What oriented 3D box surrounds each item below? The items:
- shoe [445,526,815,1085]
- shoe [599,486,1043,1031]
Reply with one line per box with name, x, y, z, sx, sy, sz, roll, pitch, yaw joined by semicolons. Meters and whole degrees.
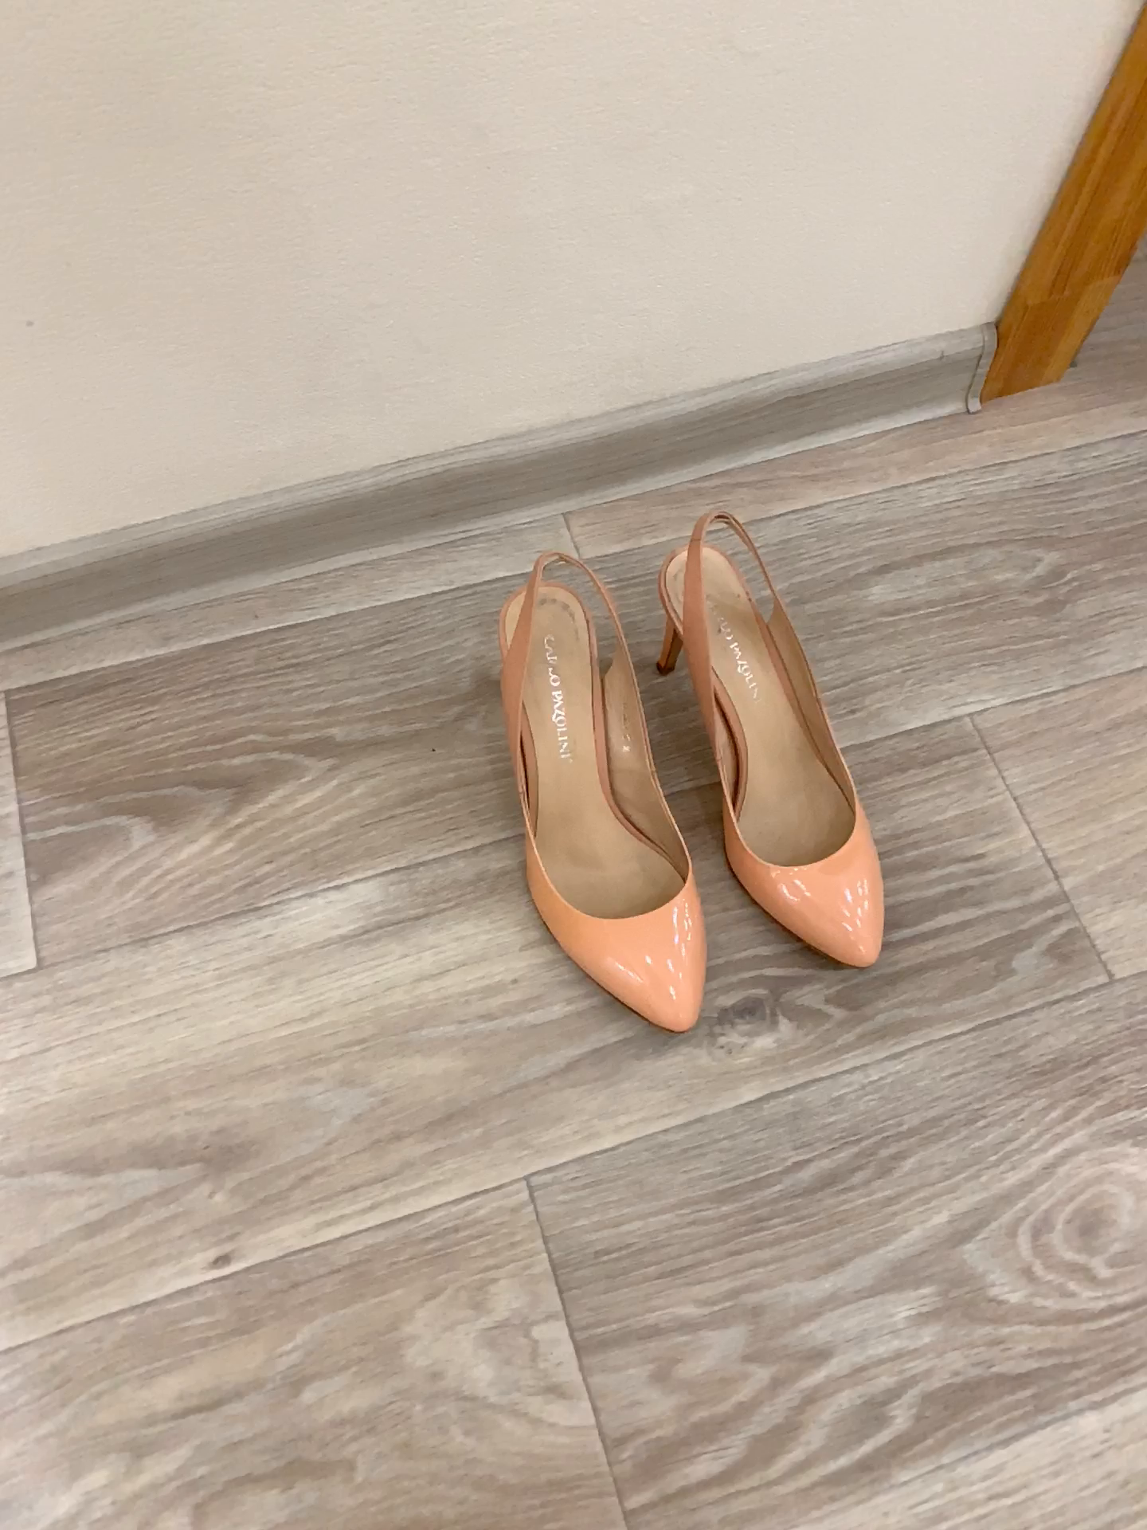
shoe;0.016;0.019;0.594;0.090;0.120;0.241;-17;64;-12
shoe;0.111;-0.005;0.607;0.090;0.120;0.240;-22;66;-14
